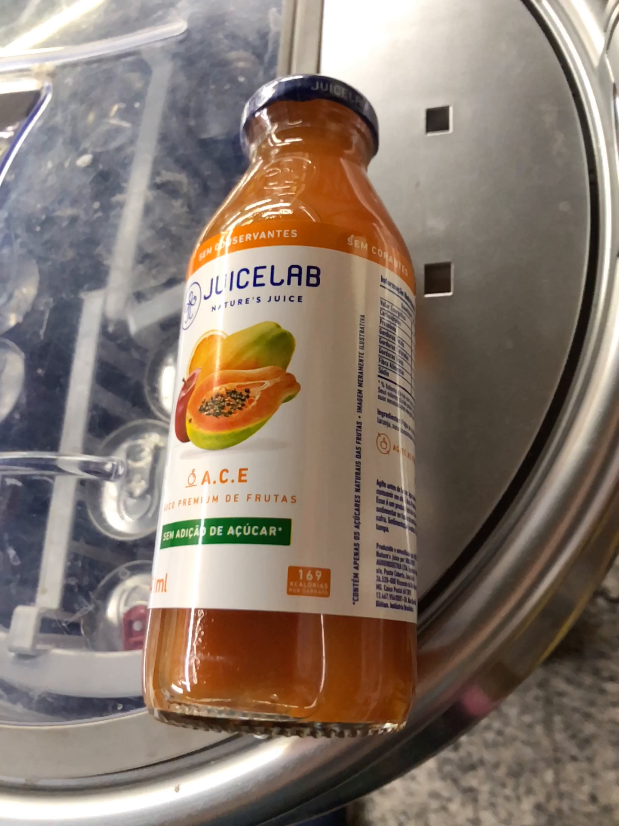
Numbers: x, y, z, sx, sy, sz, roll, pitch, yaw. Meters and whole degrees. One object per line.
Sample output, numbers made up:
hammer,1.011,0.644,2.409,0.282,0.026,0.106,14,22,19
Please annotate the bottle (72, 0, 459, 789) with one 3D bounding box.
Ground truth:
bottle,-0.002,-0.018,0.181,0.070,0.050,0.190,-4,72,24
